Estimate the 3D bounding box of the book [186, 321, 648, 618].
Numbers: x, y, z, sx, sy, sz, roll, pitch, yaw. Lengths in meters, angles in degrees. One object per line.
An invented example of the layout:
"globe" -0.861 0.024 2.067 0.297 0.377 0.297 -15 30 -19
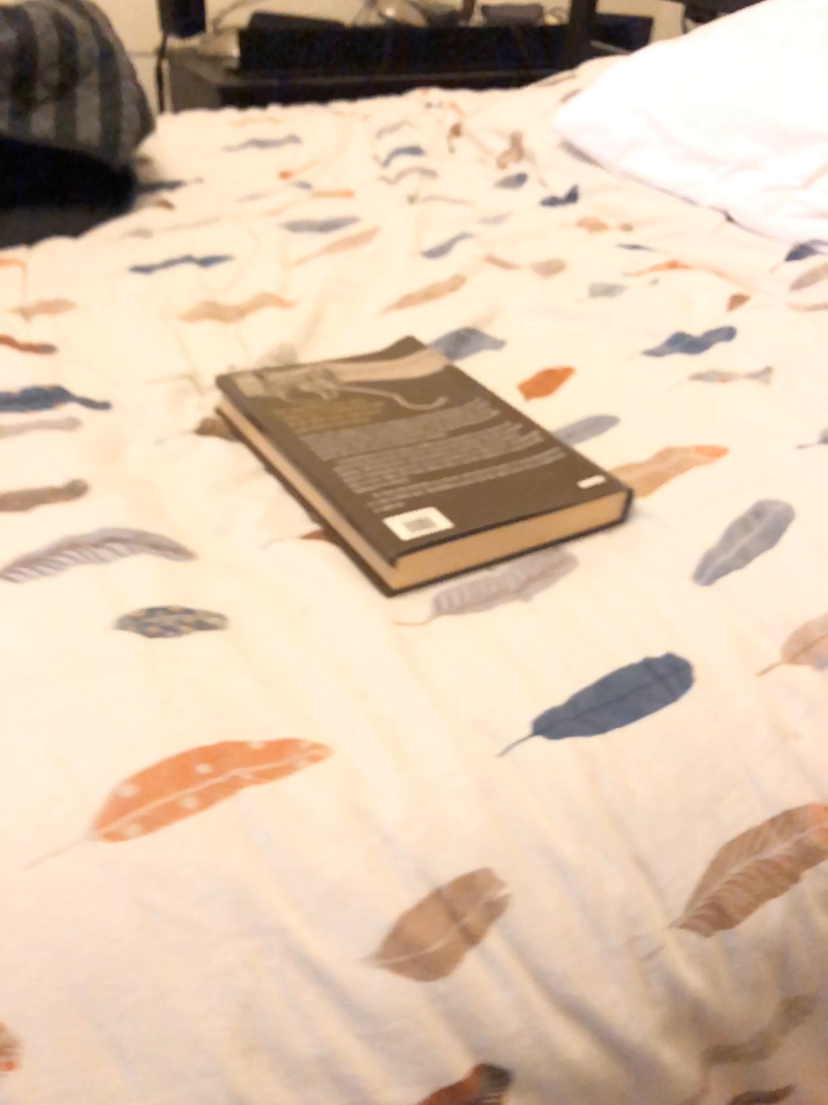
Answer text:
"book" -0.009 -0.068 0.563 0.180 0.030 0.241 -17 42 -26
